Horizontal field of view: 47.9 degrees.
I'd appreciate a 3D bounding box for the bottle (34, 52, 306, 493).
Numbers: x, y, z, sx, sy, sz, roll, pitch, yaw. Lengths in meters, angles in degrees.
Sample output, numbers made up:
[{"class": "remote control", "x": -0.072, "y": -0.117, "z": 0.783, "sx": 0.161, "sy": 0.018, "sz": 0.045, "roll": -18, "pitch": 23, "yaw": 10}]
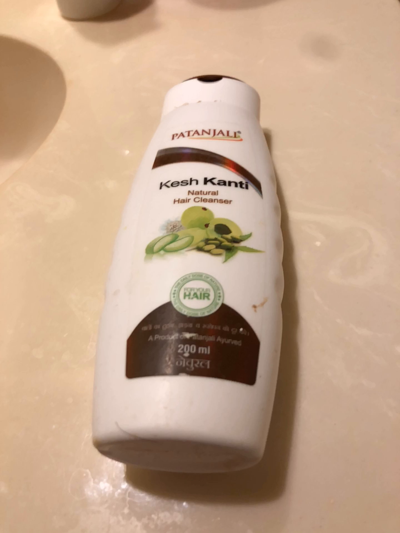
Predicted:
[{"class": "bottle", "x": 0.003, "y": -0.020, "z": 0.191, "sx": 0.070, "sy": 0.040, "sz": 0.200, "roll": 0, "pitch": 51, "yaw": 9}]
